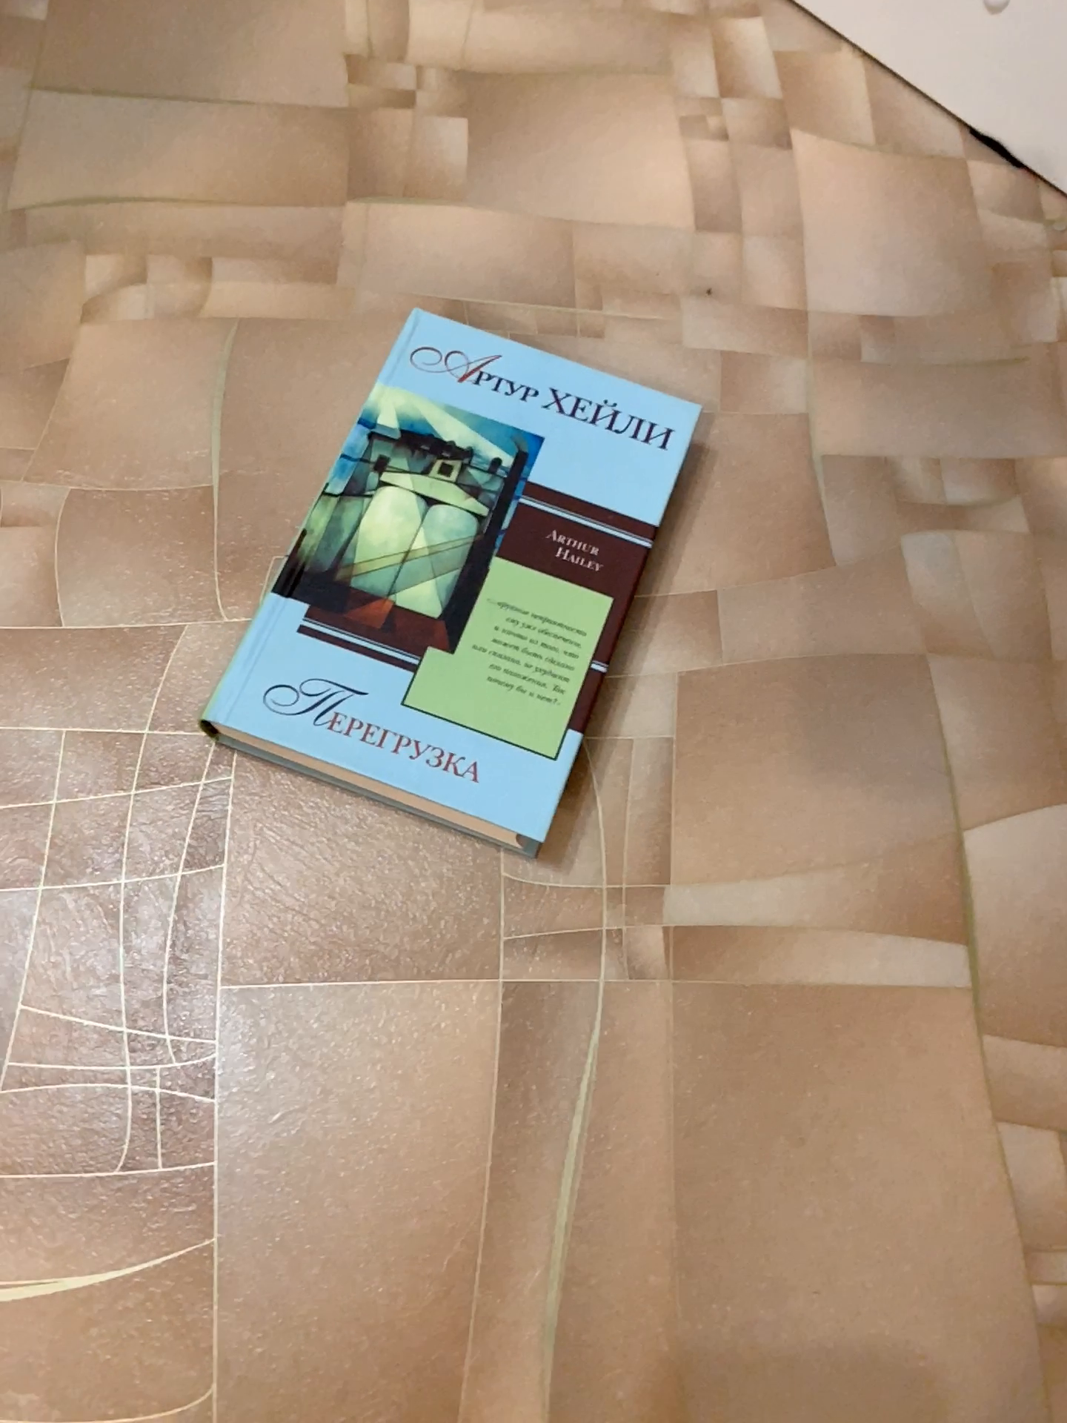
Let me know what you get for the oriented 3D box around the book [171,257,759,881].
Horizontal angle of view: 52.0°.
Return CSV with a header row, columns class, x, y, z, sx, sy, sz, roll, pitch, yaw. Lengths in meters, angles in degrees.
class,x,y,z,sx,sy,sz,roll,pitch,yaw
book,-0.017,-0.062,0.419,0.150,0.040,0.211,19,67,4
